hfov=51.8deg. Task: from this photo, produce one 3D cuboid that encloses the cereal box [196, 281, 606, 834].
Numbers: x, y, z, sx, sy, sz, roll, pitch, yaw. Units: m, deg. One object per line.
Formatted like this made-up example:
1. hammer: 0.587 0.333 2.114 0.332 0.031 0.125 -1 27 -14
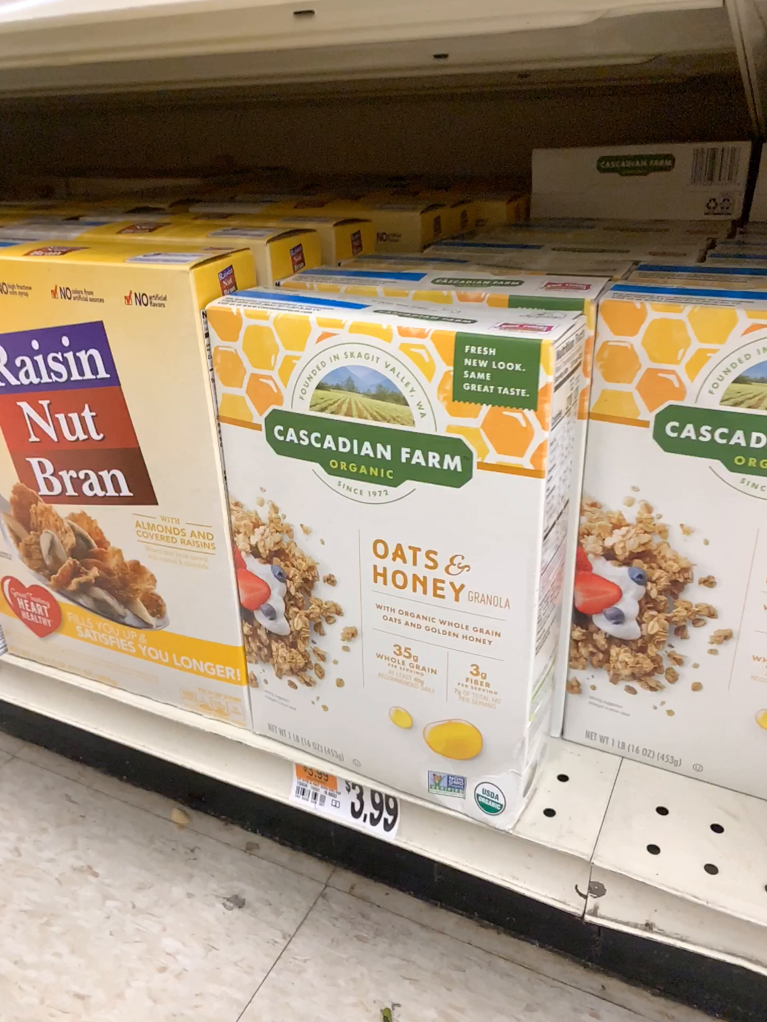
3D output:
1. cereal box: 0.006 0.018 0.374 0.160 0.229 0.060 12 28 27
